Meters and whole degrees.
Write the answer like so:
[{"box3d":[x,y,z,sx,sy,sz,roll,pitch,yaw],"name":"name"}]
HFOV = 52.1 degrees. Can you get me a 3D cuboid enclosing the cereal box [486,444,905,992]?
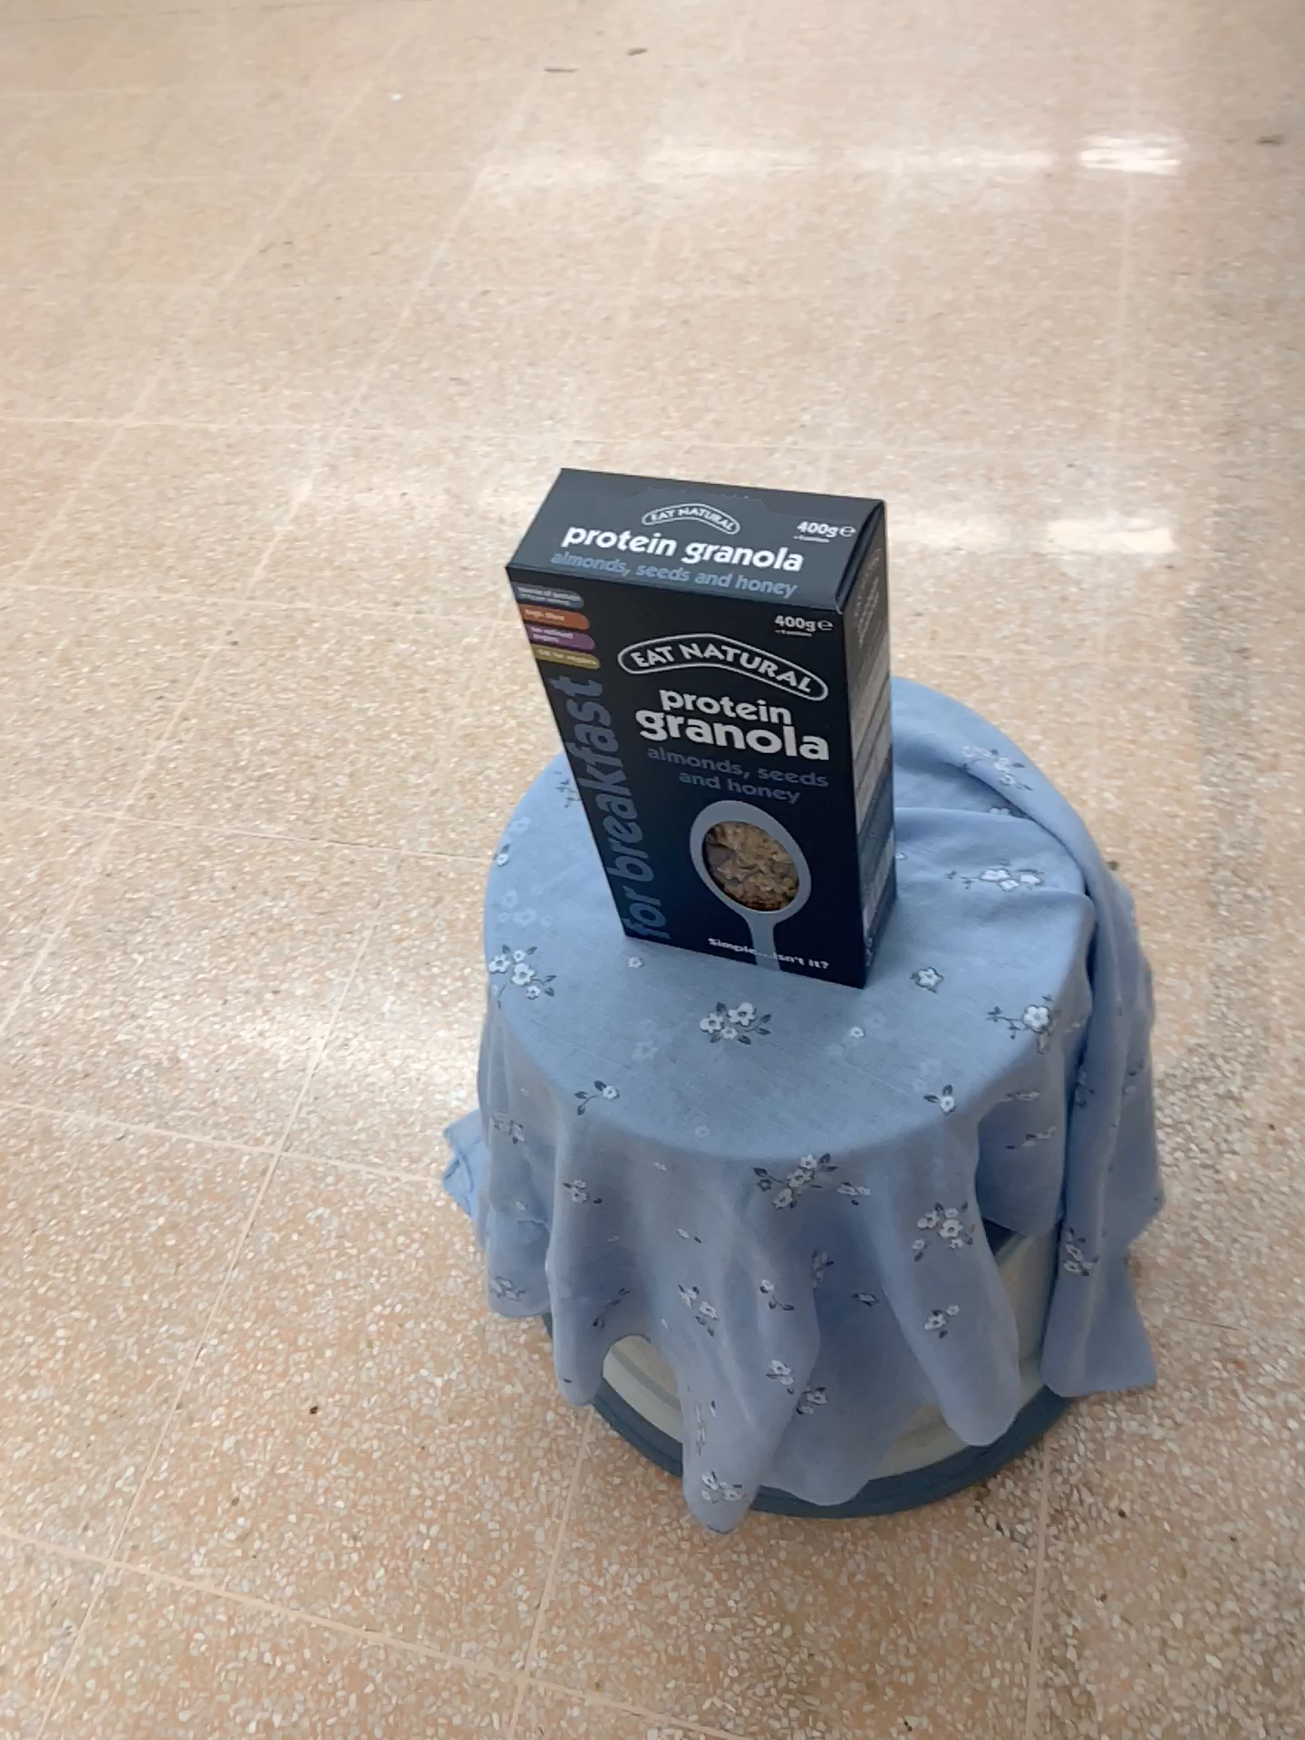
[{"box3d":[0.032,-0.051,0.556,0.130,0.238,0.070,11,59,17],"name":"cereal box"}]
